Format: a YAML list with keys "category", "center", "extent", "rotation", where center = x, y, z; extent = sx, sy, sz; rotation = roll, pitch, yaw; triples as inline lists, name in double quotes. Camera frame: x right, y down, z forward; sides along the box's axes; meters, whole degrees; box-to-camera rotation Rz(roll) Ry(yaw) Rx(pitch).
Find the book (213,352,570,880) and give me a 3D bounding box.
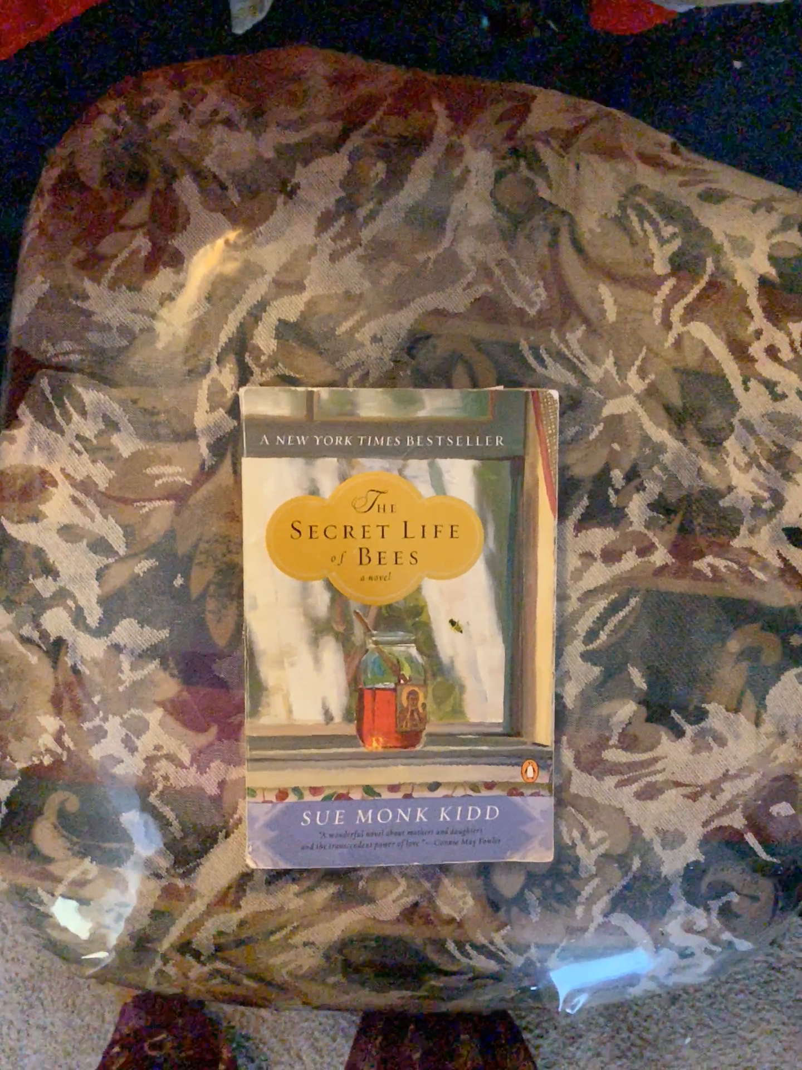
- category: "book"
  center: [-0.003, 0.033, 0.348]
  extent: [0.140, 0.040, 0.210]
  rotation: [0, 93, 0]
